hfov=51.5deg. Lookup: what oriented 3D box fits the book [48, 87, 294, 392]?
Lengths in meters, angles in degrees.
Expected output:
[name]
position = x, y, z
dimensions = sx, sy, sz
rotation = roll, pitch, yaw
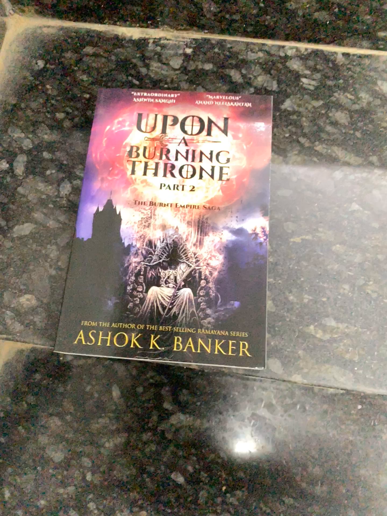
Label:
[book]
position = -0.007, -0.020, 0.272
dimensions = 0.140, 0.030, 0.201
rotation = 3, 73, 2
